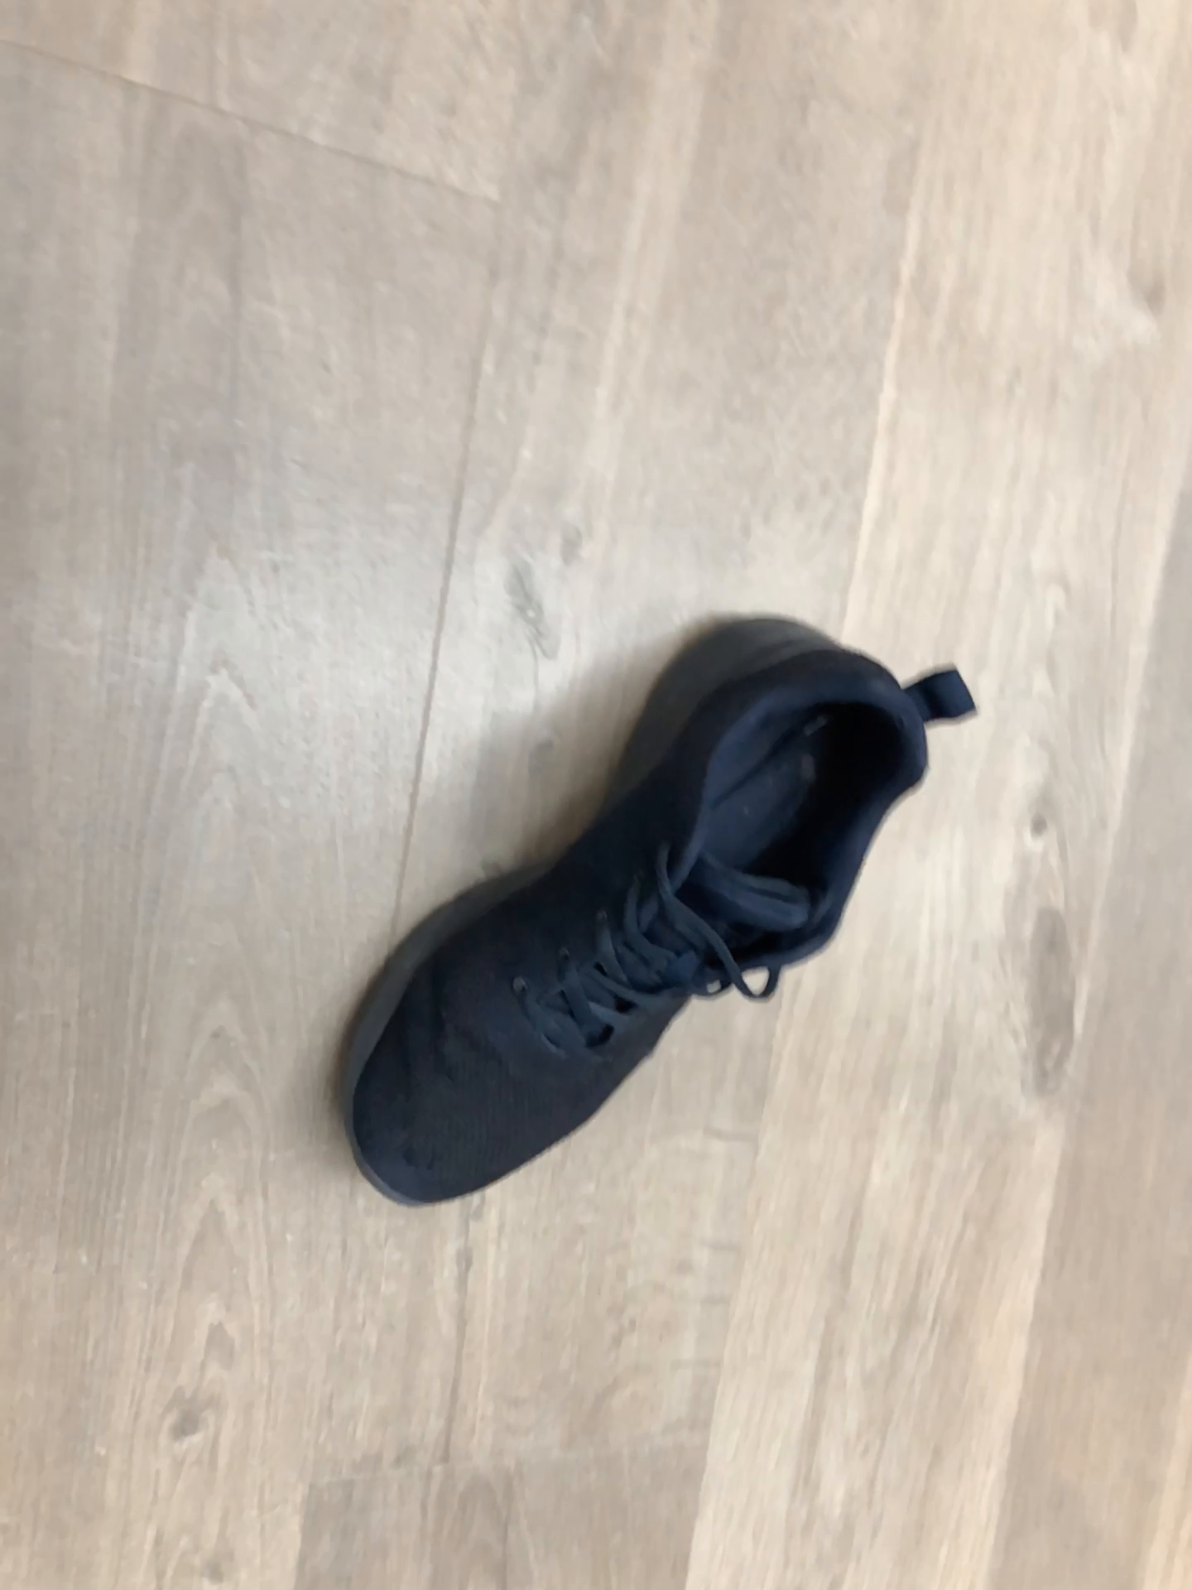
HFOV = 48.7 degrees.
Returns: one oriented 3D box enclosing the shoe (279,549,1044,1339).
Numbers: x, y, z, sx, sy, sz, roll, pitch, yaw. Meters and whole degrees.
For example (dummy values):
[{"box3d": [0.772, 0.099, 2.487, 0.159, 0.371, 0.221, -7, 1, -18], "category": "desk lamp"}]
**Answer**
[{"box3d": [0.025, 0.043, 0.516, 0.290, 0.110, 0.100, -47, 112, -12], "category": "shoe"}]
